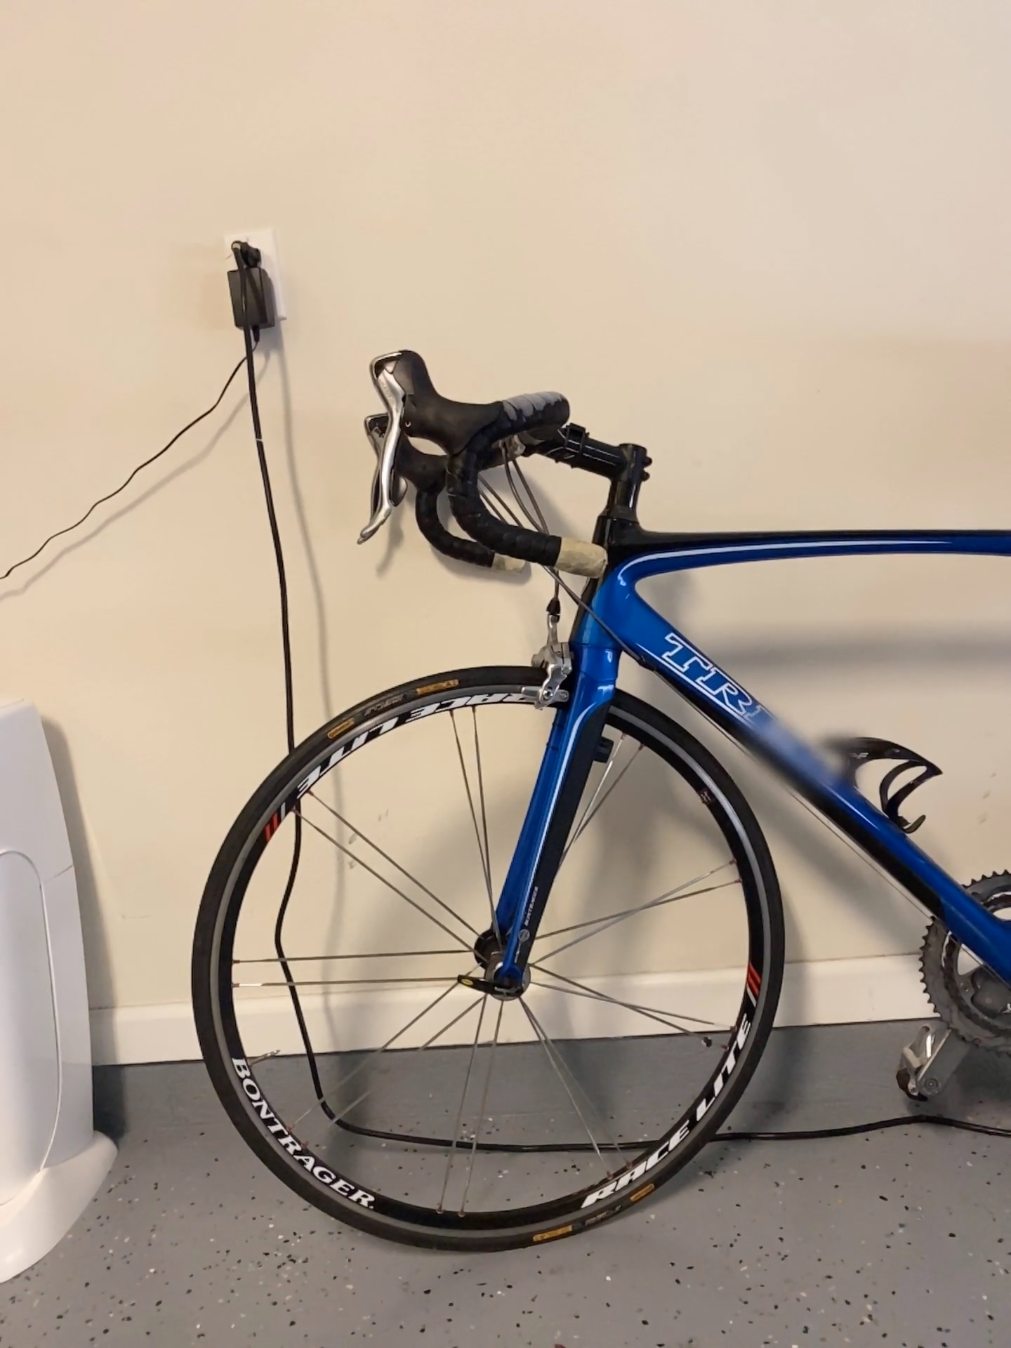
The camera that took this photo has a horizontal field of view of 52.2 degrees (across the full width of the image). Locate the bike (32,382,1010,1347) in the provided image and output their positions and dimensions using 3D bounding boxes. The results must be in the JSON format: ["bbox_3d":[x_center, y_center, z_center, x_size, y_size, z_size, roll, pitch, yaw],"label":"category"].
[{"bbox_3d":[0.538,0.194,1.025,1.638,0.884,0.401,-3,7,-6],"label":"bike"}]
